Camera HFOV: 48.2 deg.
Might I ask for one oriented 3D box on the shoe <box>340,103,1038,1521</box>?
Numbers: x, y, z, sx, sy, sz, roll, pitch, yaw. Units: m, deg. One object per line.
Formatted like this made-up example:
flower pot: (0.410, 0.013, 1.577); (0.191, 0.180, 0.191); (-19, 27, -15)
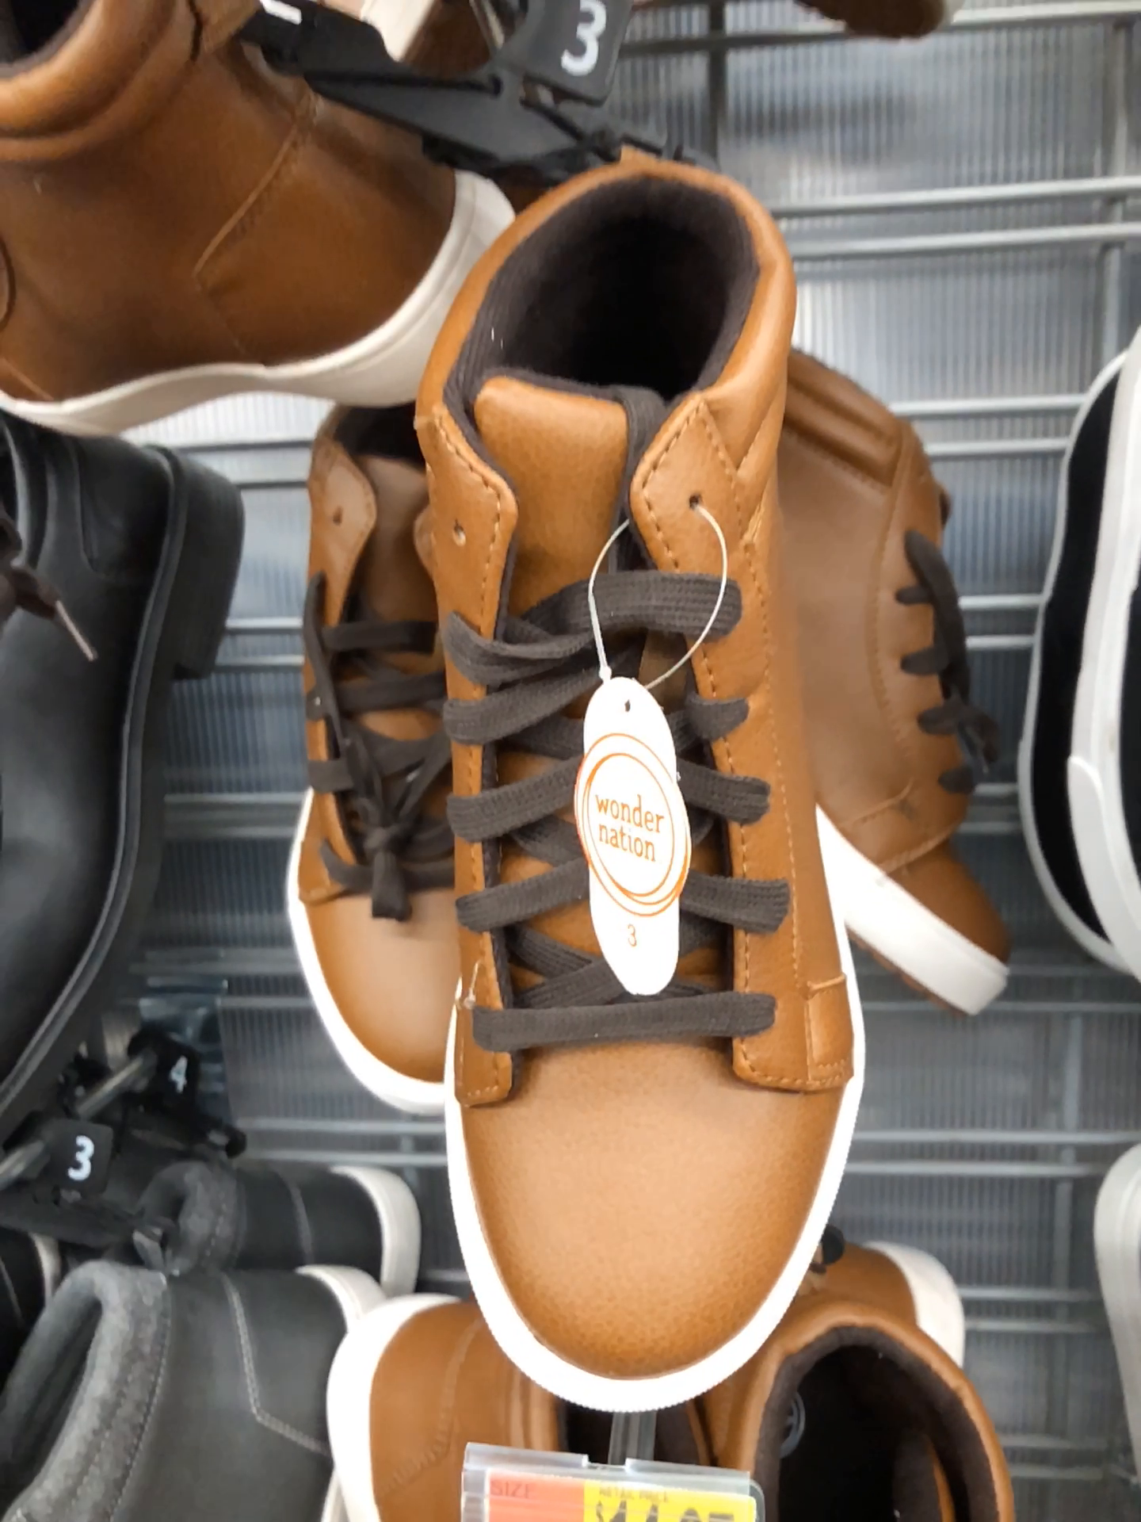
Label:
shoe: (0.015, 0.013, 0.248); (0.096, 0.227, 0.110); (-2, -9, 2)
